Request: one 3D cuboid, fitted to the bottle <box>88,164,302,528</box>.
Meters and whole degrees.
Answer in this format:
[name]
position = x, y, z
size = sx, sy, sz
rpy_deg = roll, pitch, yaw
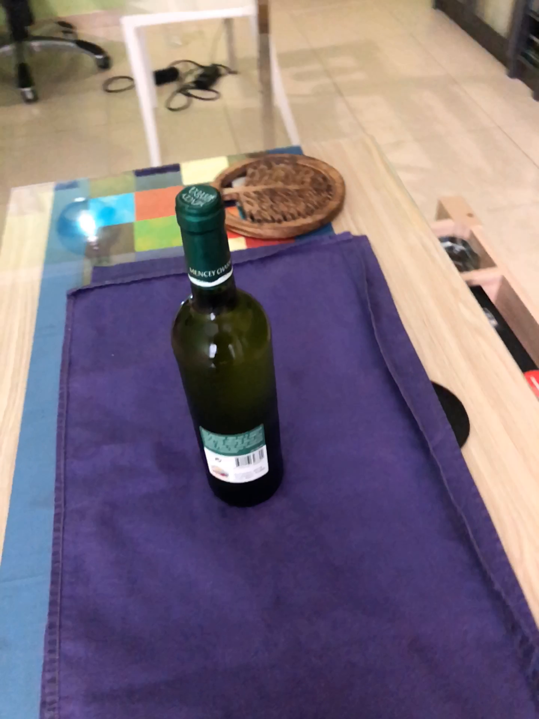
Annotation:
[bottle]
position = -0.031, 0.009, 0.423
size = 0.090, 0.269, 0.090
rpy_deg = -2, 47, 3
